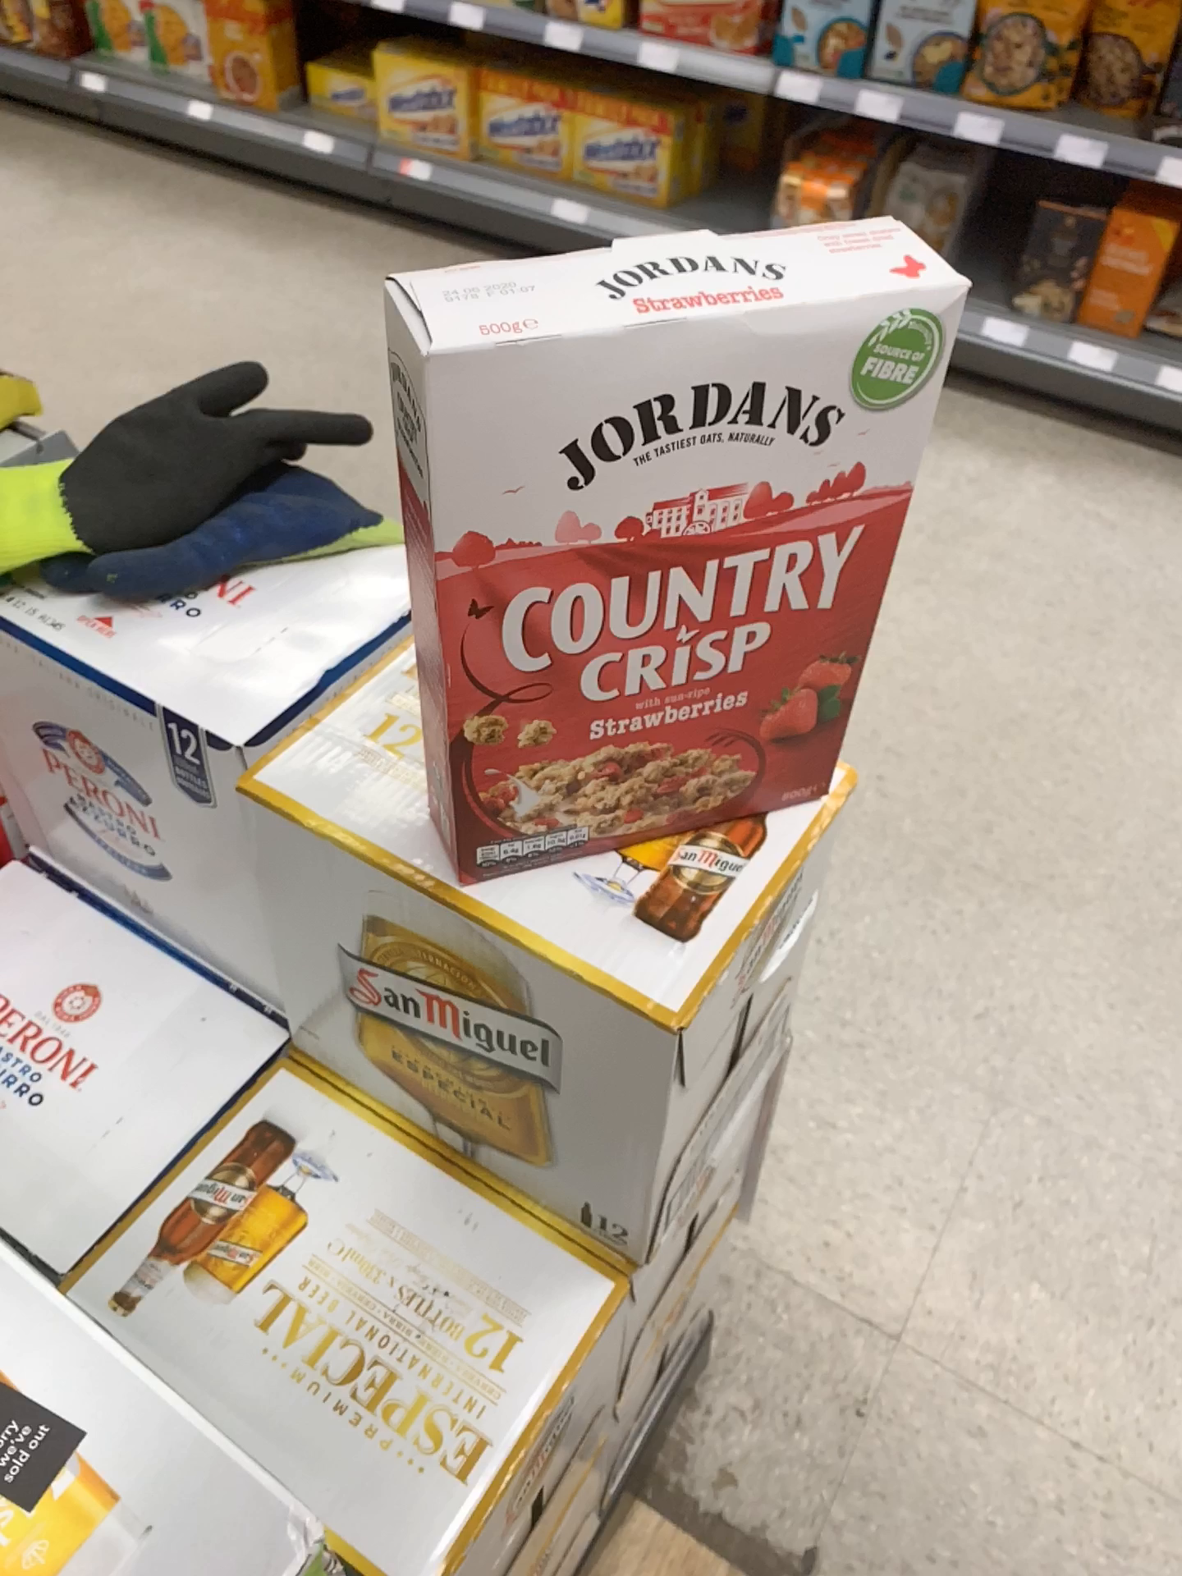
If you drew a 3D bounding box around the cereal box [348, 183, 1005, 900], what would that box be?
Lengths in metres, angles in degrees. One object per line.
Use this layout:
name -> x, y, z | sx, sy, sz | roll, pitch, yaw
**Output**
cereal box -> 0.020, -0.079, 0.458 | 0.190, 0.248, 0.060 | -13, 50, -16
